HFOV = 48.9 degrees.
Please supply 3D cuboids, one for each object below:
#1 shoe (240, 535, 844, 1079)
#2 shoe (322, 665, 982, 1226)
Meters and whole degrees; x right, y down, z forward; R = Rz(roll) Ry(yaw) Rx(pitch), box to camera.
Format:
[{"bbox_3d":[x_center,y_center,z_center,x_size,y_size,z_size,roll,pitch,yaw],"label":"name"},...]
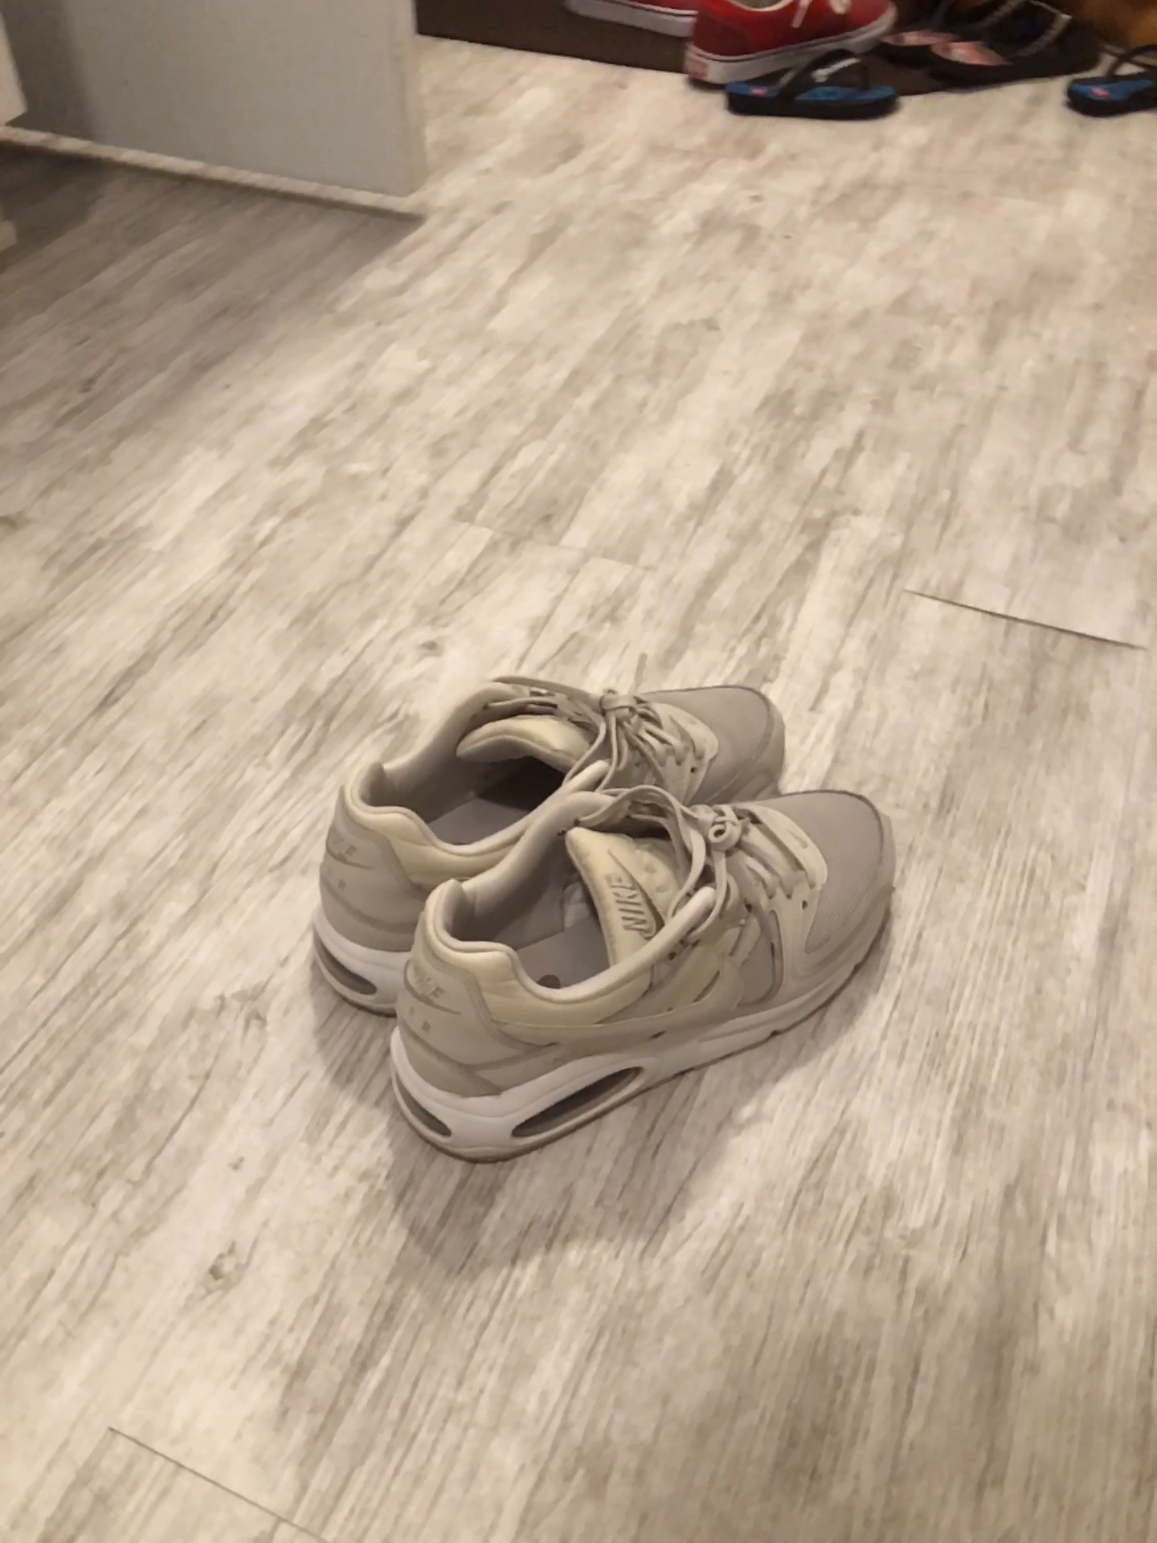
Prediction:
[{"bbox_3d":[-0.010,0.009,0.591,0.250,0.120,0.100,-29,52,-25],"label":"shoe"},{"bbox_3d":[0.034,0.068,0.542,0.250,0.120,0.090,-23,50,-20],"label":"shoe"}]
